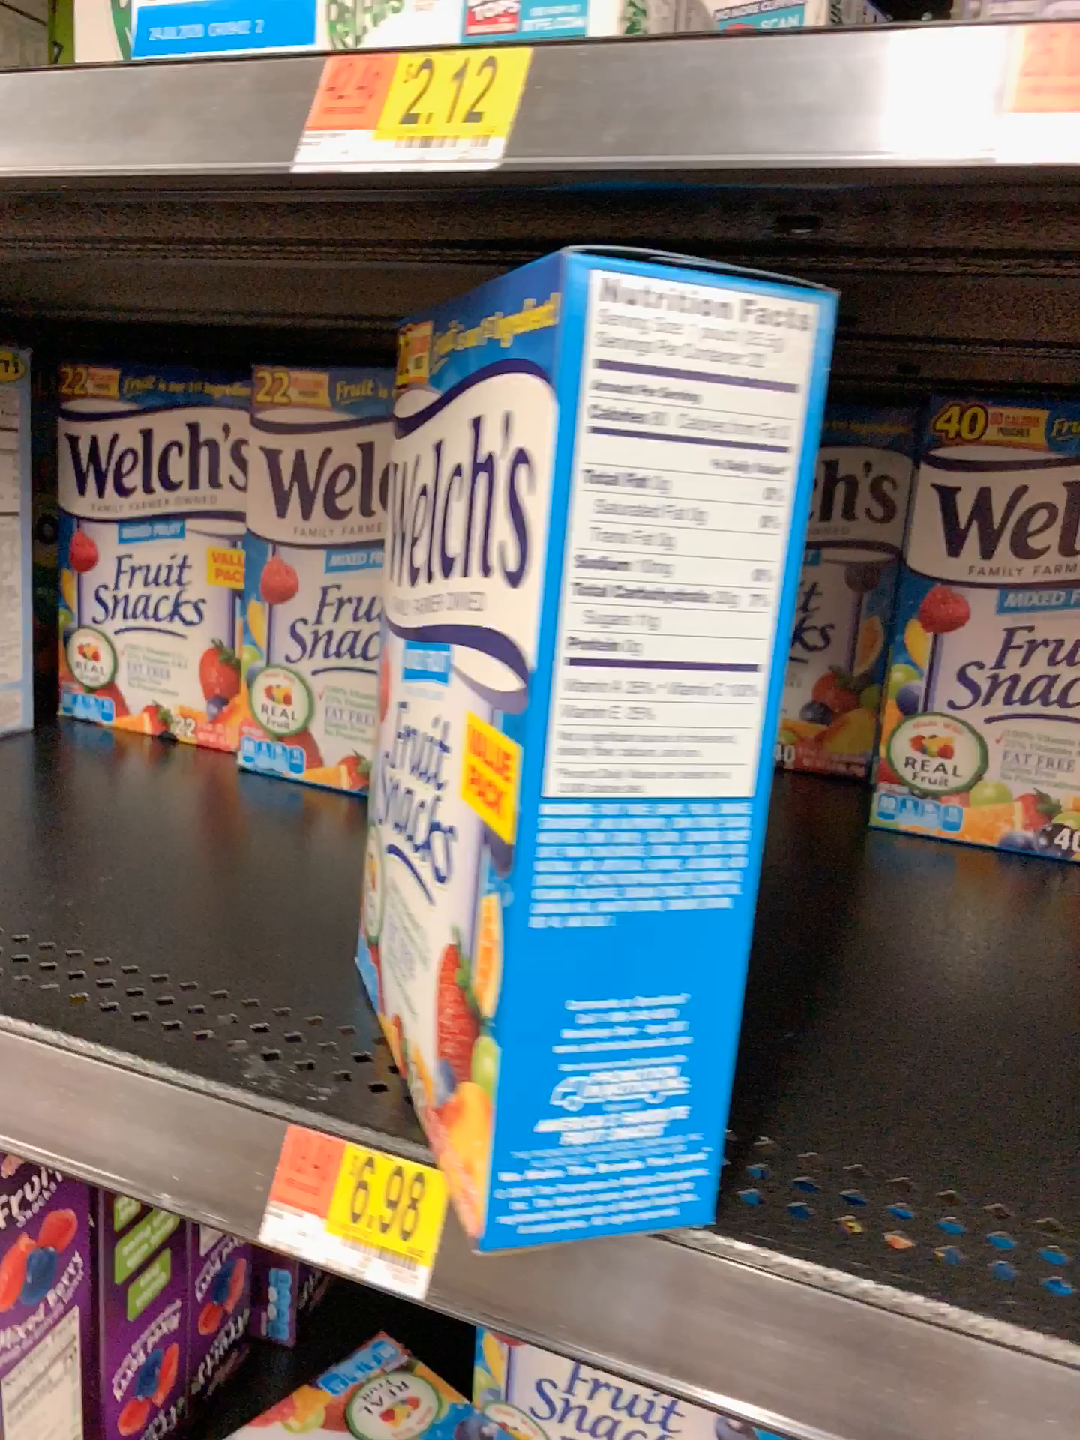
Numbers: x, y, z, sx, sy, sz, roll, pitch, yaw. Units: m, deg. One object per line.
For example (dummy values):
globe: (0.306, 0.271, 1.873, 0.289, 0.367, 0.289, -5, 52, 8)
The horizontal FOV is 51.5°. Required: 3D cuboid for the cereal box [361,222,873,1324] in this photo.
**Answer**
cereal box: (0.001, 0.003, 0.314, 0.060, 0.229, 0.171, 1, 12, -20)
